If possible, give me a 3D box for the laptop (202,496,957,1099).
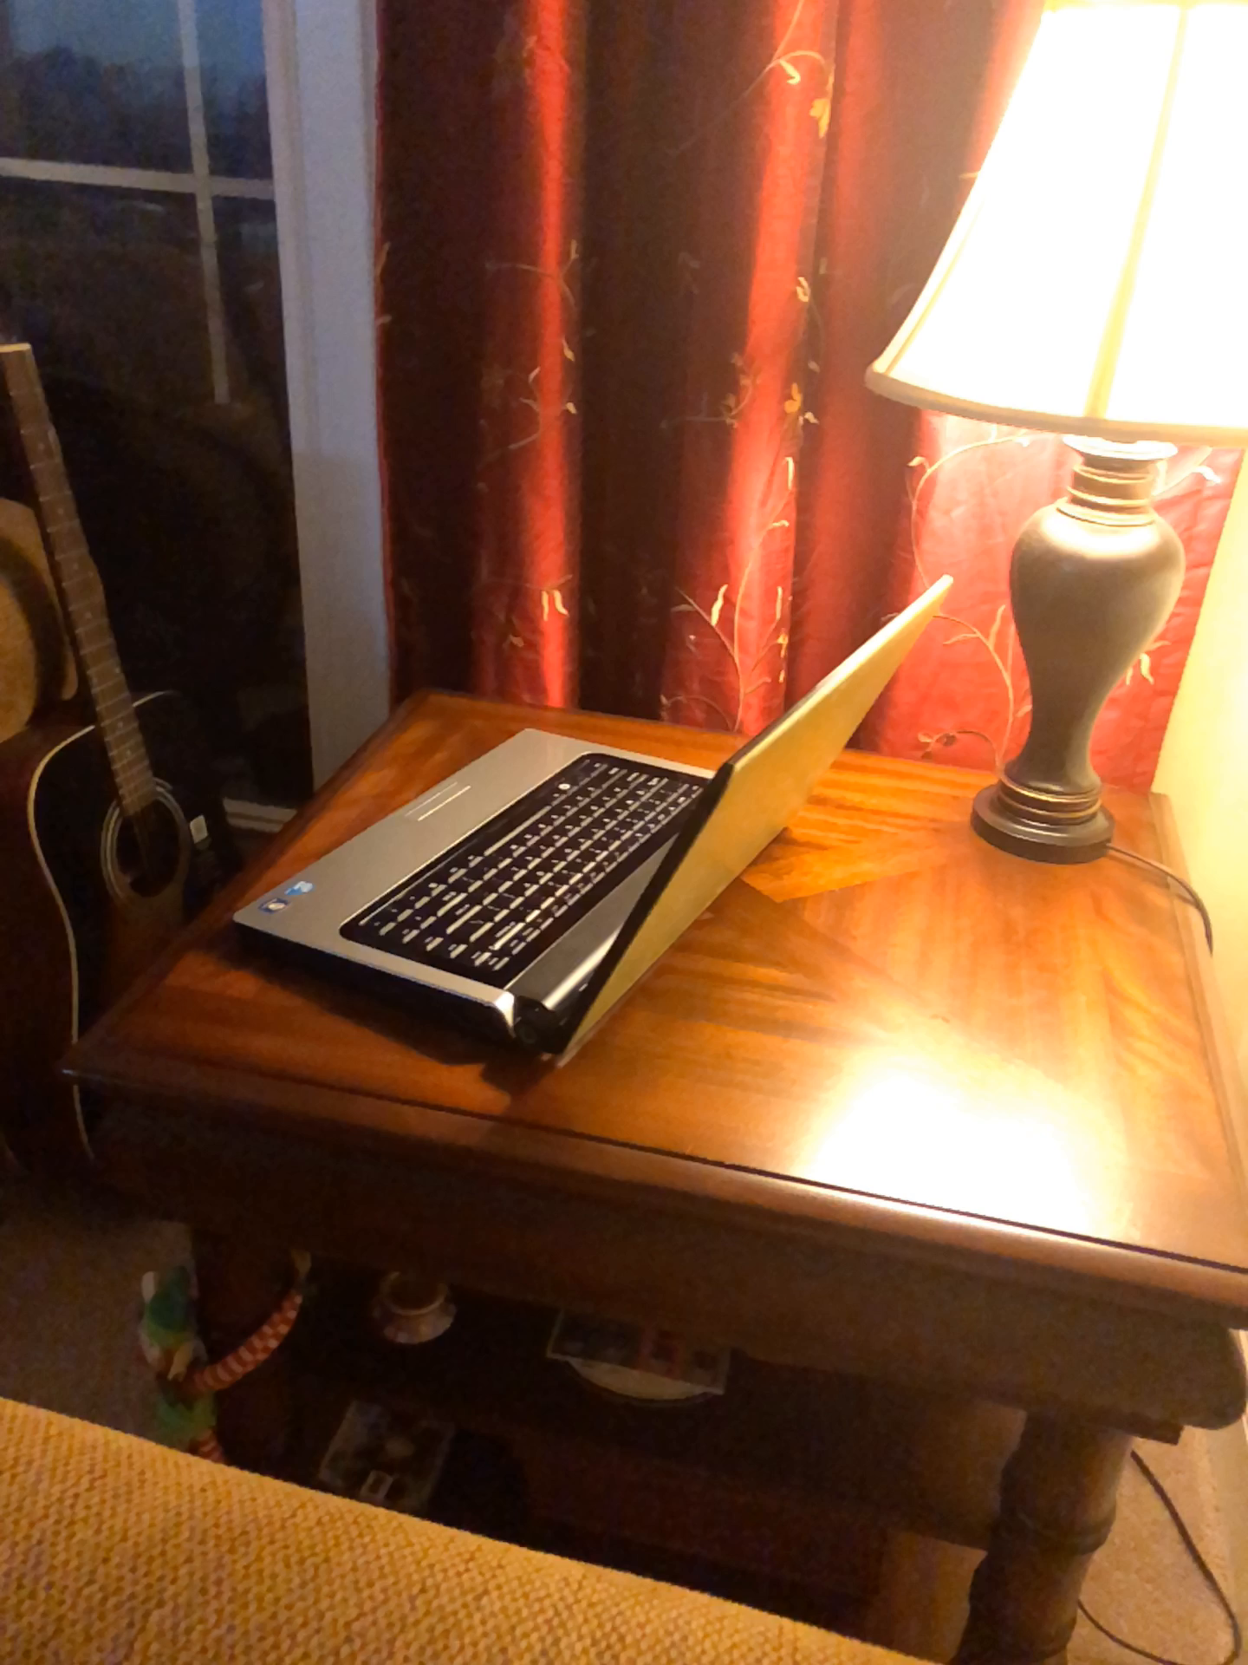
[{"bbox_3d":[-0.014,-0.059,0.935,0.351,0.204,0.363,17,32,23],"label":"laptop"}]
